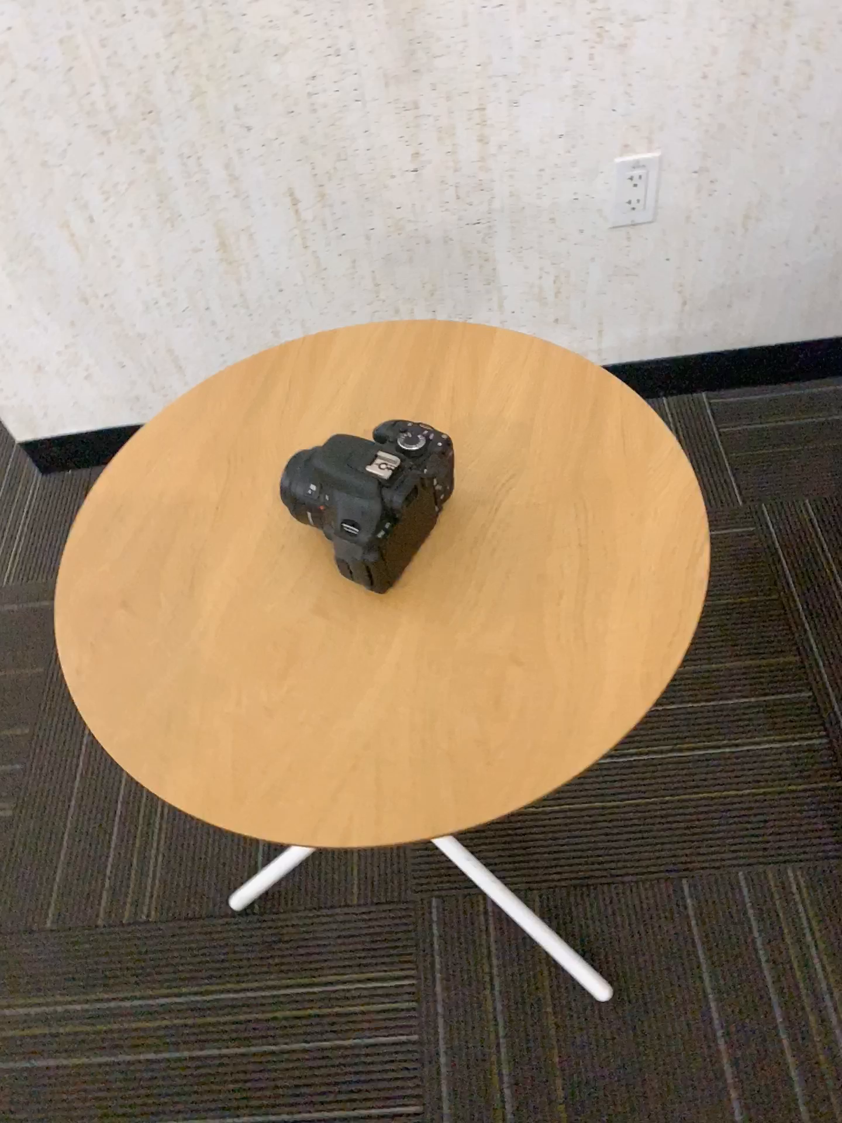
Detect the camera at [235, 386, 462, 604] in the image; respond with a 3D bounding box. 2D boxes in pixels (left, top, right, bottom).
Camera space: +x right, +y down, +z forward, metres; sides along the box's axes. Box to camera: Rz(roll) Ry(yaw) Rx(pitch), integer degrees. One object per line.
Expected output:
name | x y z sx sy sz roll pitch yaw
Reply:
camera | -0.053 -0.056 0.686 0.126 0.080 0.120 21 59 21
